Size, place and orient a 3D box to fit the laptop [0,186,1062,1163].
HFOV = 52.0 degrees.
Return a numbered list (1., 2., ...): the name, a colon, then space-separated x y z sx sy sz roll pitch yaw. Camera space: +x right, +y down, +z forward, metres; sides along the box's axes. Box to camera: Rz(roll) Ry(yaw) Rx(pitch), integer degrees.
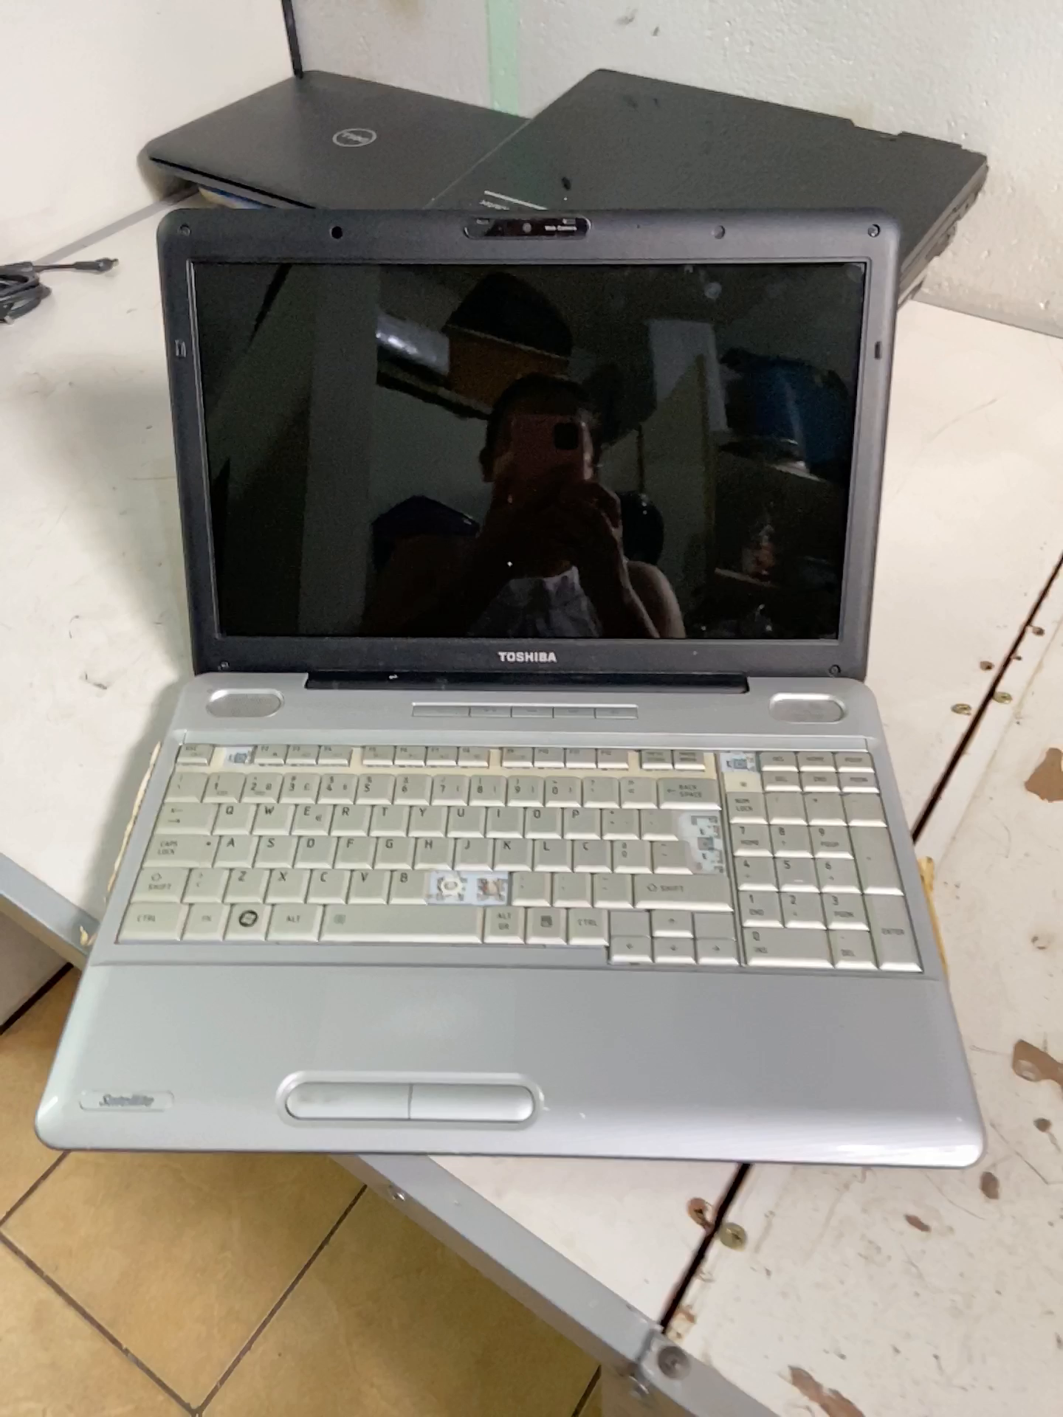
1. laptop: 0.025 -0.042 0.478 0.370 0.191 0.401 0 48 2
